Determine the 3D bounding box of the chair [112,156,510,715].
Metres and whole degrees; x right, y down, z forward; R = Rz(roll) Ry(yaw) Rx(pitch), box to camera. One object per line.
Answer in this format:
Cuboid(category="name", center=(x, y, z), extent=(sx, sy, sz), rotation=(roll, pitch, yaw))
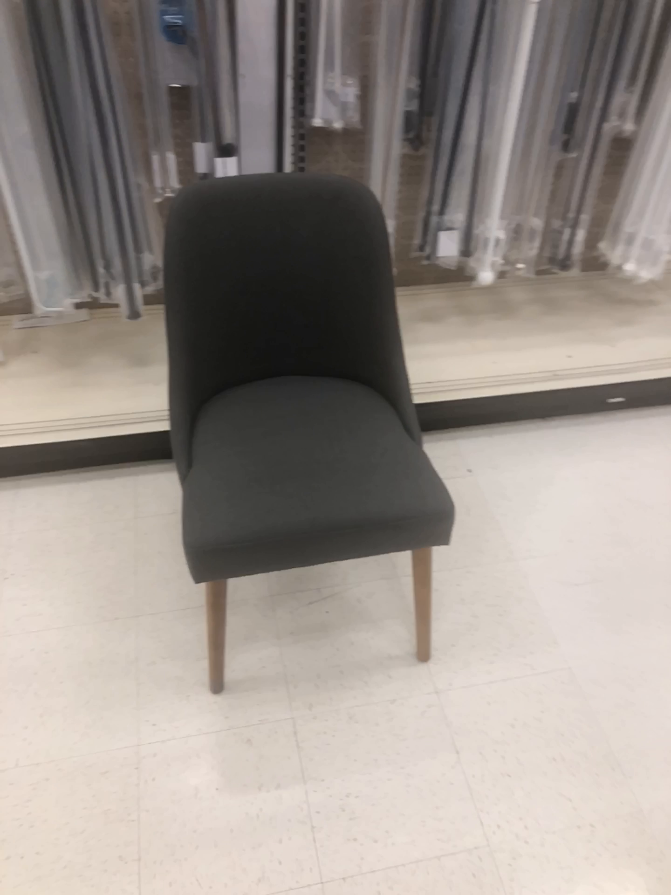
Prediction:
Cuboid(category="chair", center=(-0.090, -0.017, 1.436), extent=(0.514, 0.859, 0.589), rotation=(-6, 41, -10))
